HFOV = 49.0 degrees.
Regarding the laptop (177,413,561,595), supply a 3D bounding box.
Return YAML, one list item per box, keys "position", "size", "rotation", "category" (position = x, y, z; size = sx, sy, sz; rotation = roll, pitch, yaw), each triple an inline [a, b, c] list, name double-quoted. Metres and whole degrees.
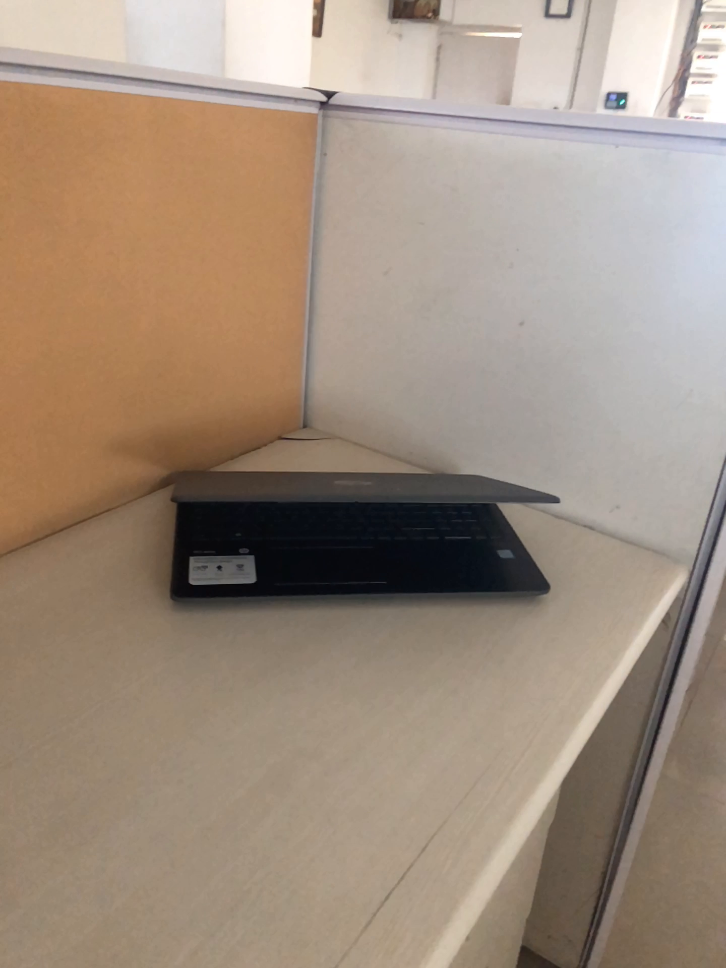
- position: [-0.011, 0.012, 0.853]
  size: [0.362, 0.074, 0.239]
  rotation: [0, 29, -11]
  category: "laptop"
